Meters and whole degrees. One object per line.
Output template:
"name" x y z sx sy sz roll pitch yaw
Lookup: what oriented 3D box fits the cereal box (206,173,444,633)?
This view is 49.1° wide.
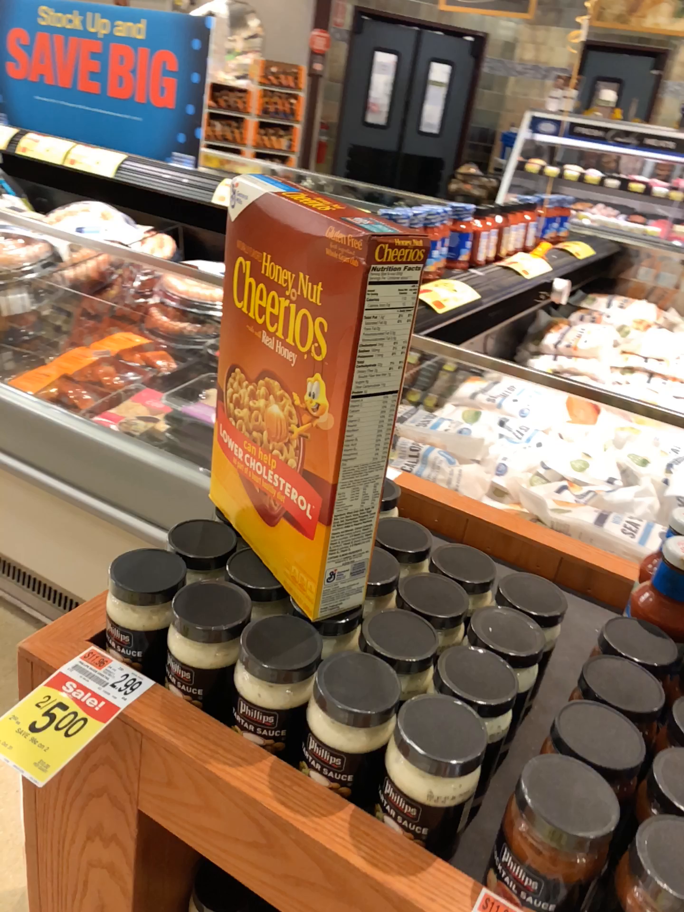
"cereal box" -0.032 -0.047 0.573 0.050 0.288 0.201 -8 30 -32
